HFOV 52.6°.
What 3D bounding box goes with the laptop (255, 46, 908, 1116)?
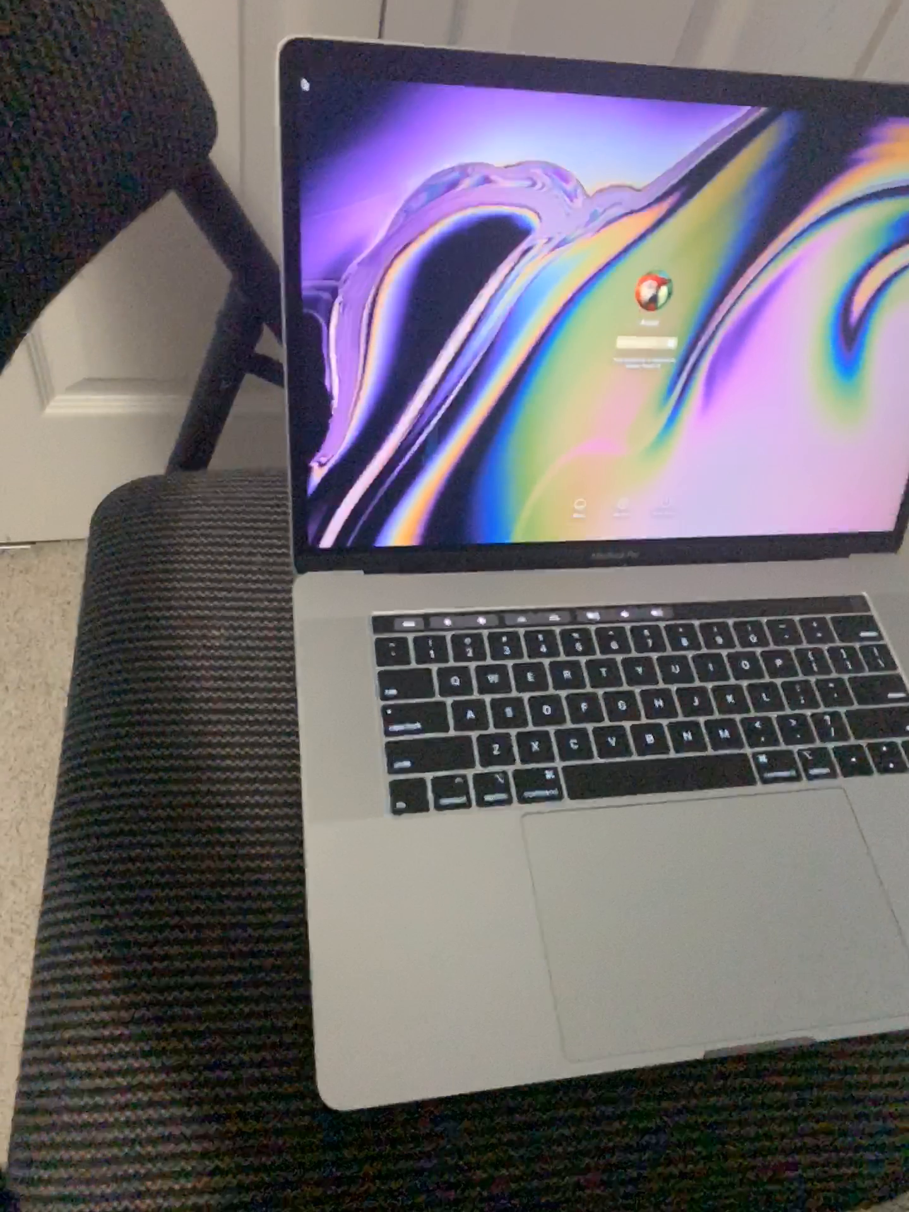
[{"bbox_3d":[0.098,-0.024,0.376,0.342,0.195,0.353,-2,57,-12],"label":"laptop"}]
